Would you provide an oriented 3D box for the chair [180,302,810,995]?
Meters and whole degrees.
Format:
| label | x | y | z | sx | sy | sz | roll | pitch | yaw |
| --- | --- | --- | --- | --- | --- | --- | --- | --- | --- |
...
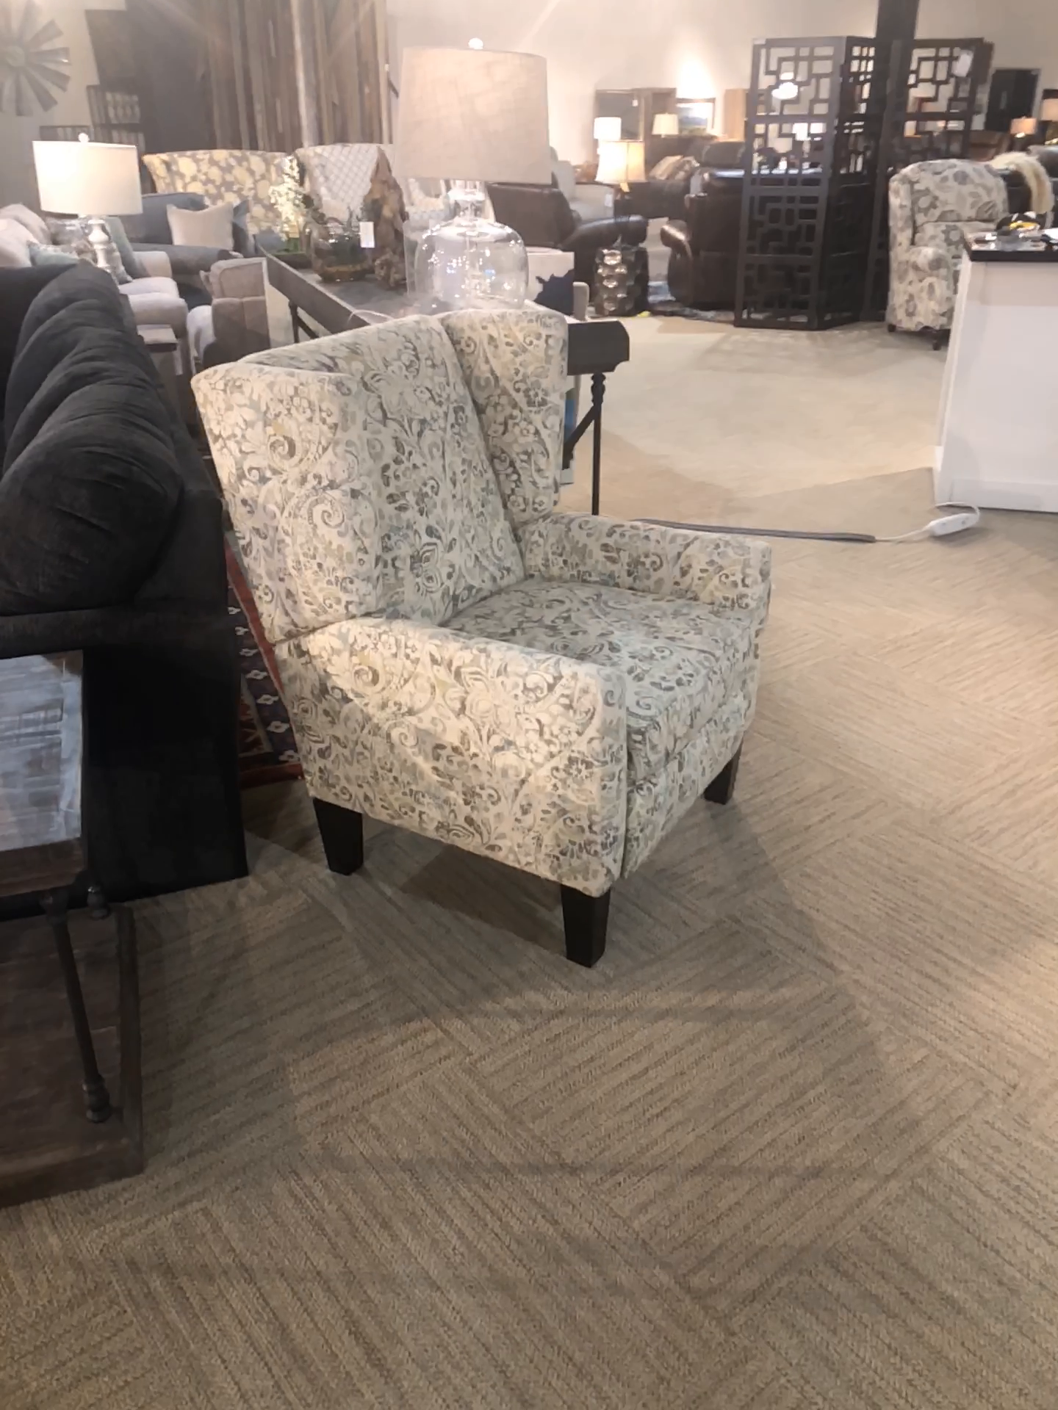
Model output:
| label | x | y | z | sx | sy | sz | roll | pitch | yaw |
| --- | --- | --- | --- | --- | --- | --- | --- | --- | --- |
| chair | -0.026 | -0.190 | 2.229 | 0.801 | 0.975 | 0.783 | 15 | 30 | 28 |
